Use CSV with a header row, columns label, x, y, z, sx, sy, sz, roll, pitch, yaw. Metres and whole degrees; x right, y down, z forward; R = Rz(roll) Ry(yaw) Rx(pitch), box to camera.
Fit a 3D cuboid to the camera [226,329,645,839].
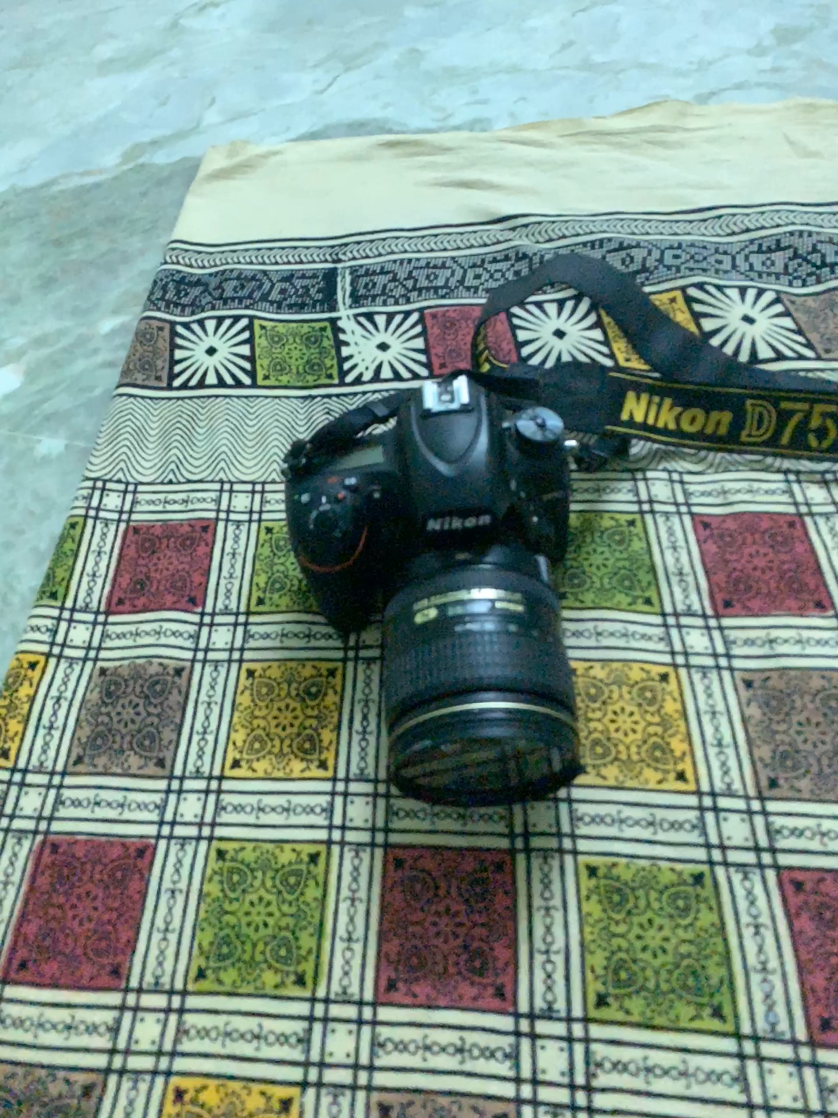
label,x,y,z,sx,sy,sz,roll,pitch,yaw
camera,0.007,0.008,0.377,0.140,0.100,0.190,-6,53,5
